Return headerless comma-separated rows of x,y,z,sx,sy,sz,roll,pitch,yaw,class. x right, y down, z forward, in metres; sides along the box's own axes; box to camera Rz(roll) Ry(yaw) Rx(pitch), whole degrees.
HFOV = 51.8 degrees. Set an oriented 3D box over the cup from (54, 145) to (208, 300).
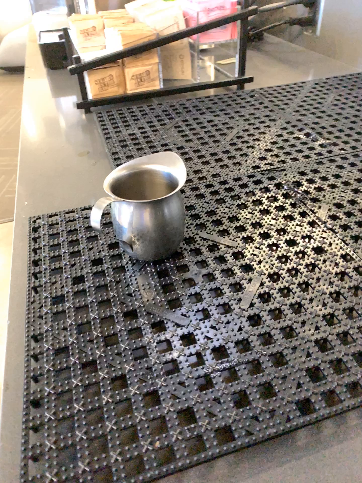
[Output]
-0.035,-0.022,0.323,0.070,0.070,0.110,21,45,26,cup
